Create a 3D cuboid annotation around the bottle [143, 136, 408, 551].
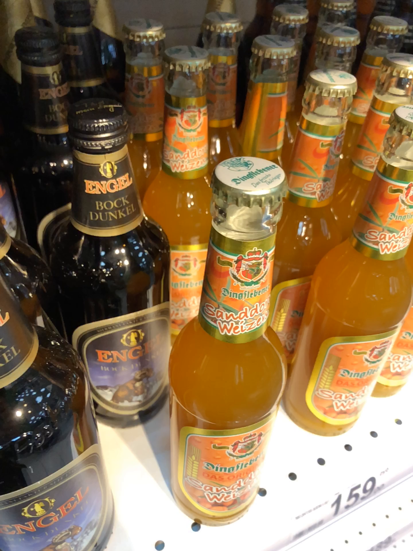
[{"bbox_3d":[0.015,0.054,0.231,0.070,0.225,0.060,-13,44,-18],"label":"bottle"}]
